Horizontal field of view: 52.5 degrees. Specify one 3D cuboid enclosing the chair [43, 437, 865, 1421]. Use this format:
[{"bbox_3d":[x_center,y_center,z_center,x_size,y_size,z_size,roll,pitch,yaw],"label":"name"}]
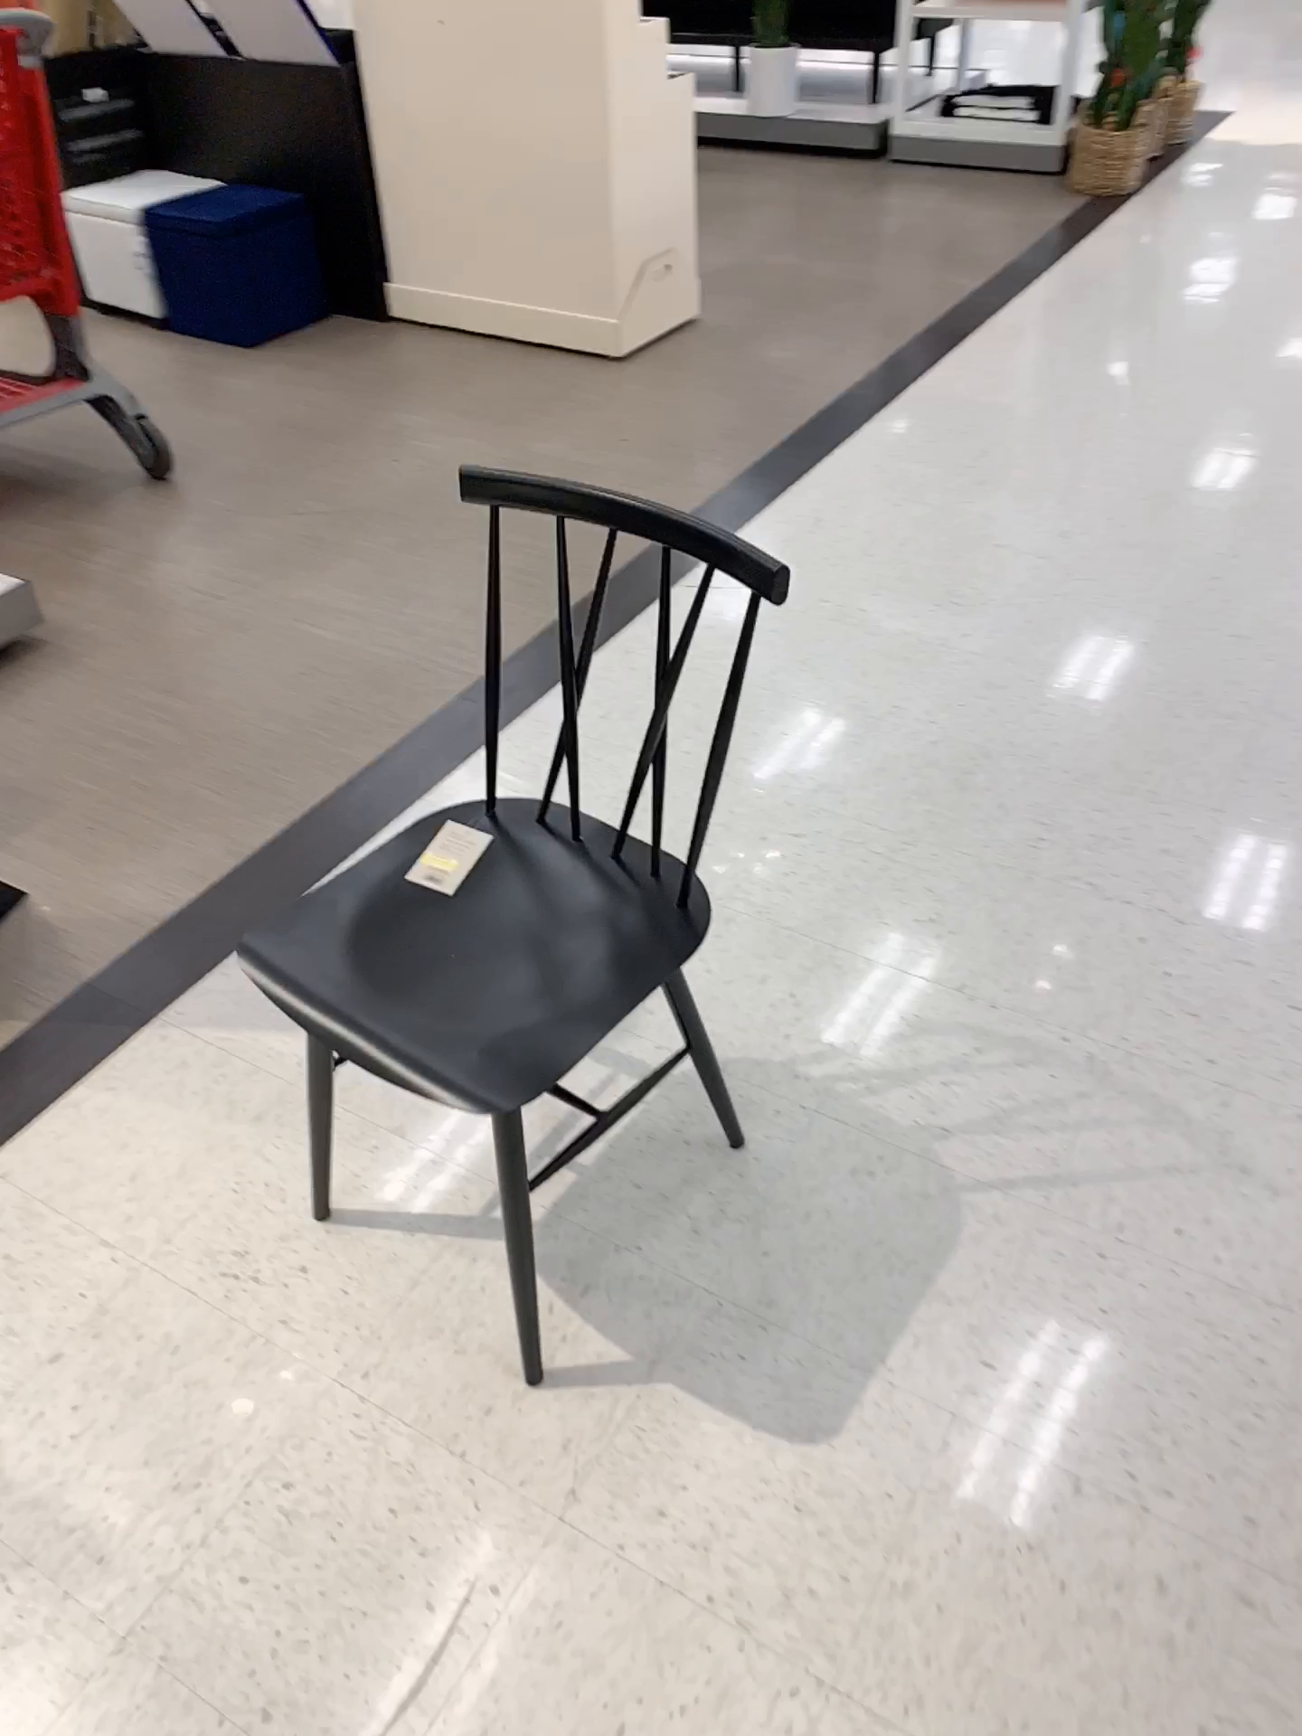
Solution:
[{"bbox_3d":[-0.141,0.048,1.369,0.481,0.736,0.521,24,46,29],"label":"chair"}]
